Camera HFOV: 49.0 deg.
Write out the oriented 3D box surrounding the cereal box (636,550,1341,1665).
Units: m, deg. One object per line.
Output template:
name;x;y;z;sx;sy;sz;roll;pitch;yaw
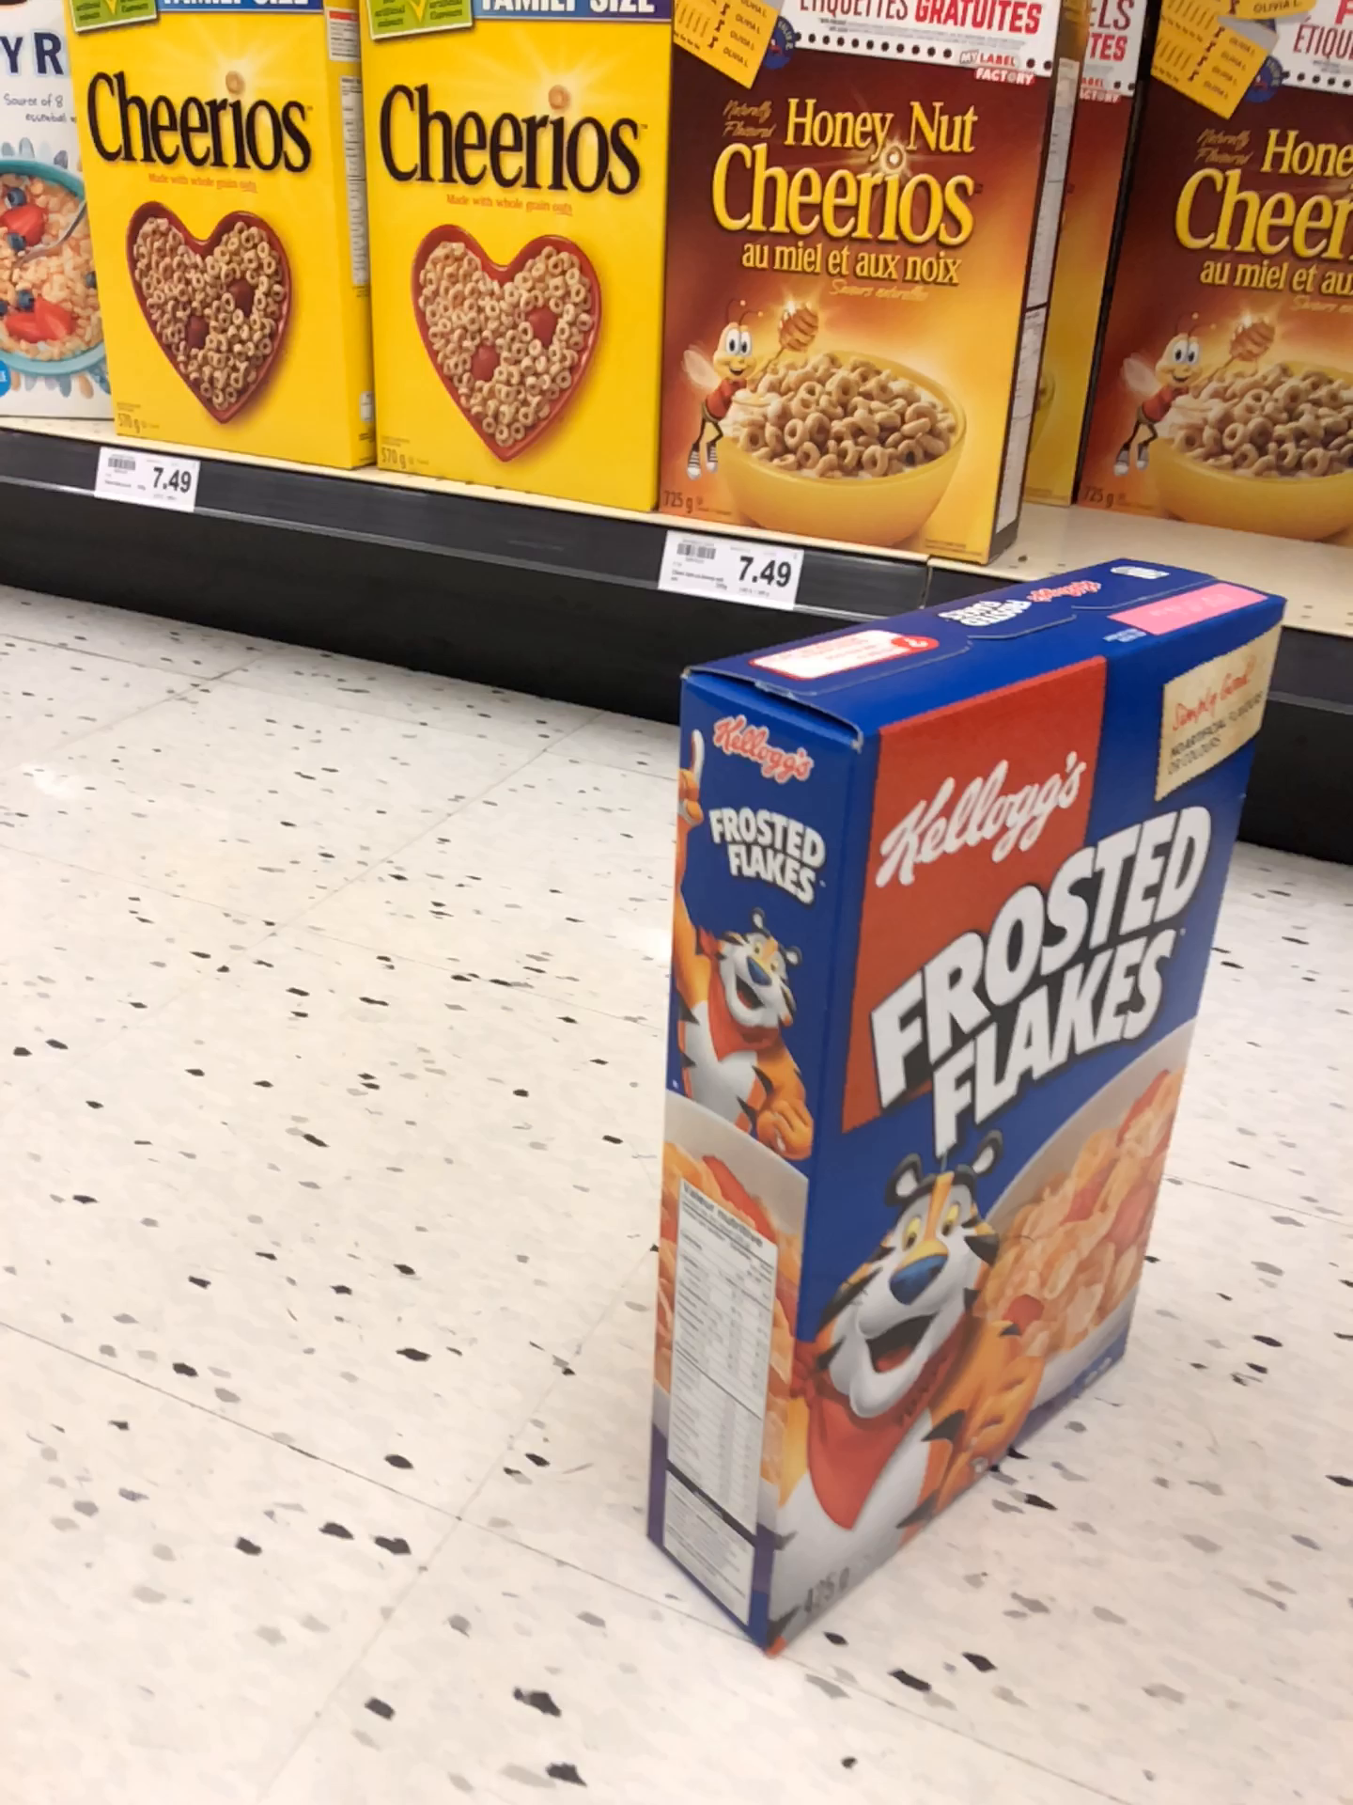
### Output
cereal box;0.091;0.056;0.459;0.201;0.288;0.070;-21;35;-39
